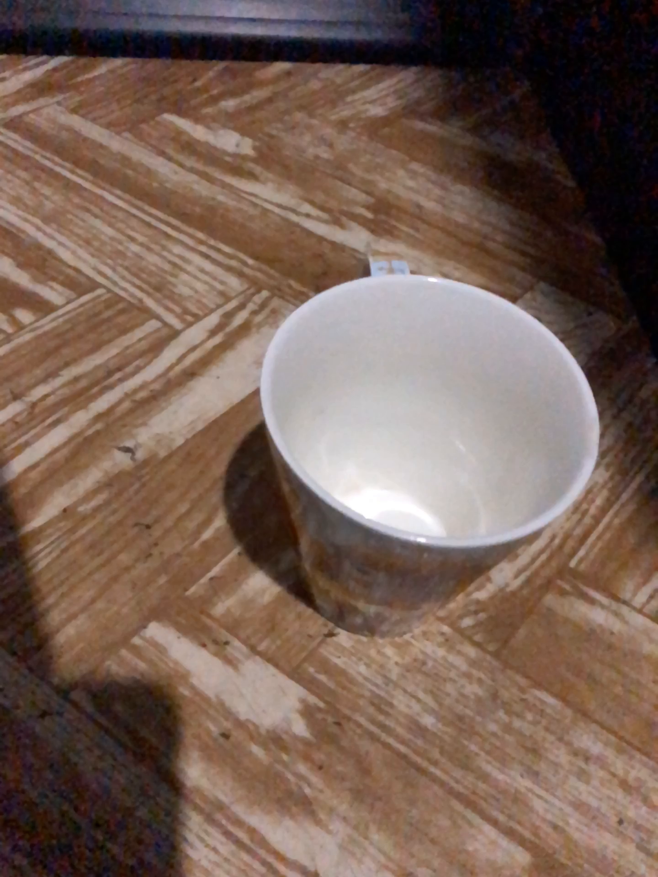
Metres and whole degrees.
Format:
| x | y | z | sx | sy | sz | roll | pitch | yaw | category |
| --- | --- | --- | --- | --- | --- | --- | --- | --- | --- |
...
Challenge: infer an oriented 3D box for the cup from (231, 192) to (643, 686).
| x | y | z | sx | sy | sz | roll | pitch | yaw | category |
| --- | --- | --- | --- | --- | --- | --- | --- | --- | --- |
| 0.016 | 0.000 | 0.221 | 0.079 | 0.090 | 0.112 | -5 | 55 | -10 | cup |
